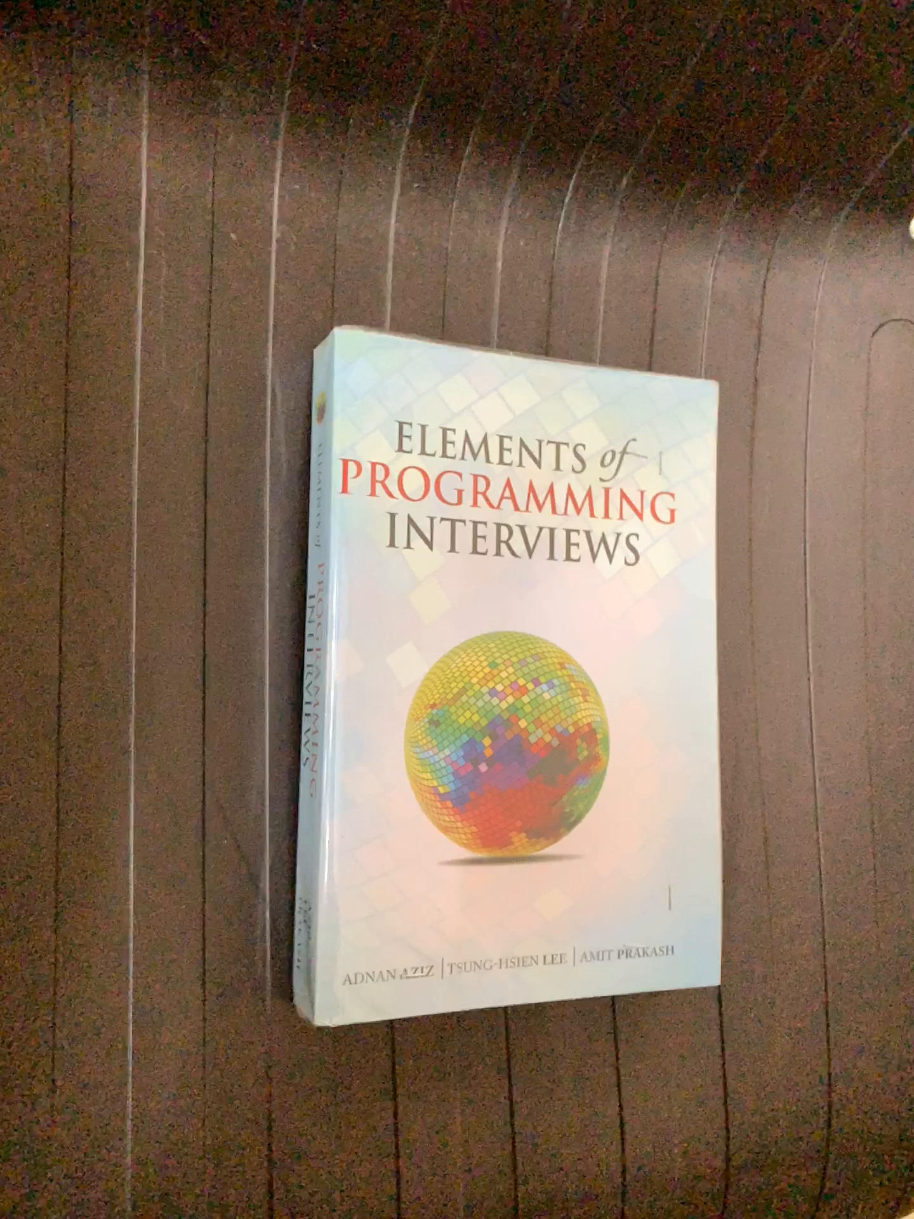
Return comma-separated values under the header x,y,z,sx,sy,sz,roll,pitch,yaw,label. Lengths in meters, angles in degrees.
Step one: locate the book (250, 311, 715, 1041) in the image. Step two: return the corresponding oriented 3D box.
x,y,z,sx,sy,sz,roll,pitch,yaw,label
0.013,0.023,0.351,0.160,0.050,0.230,3,84,-21,book
